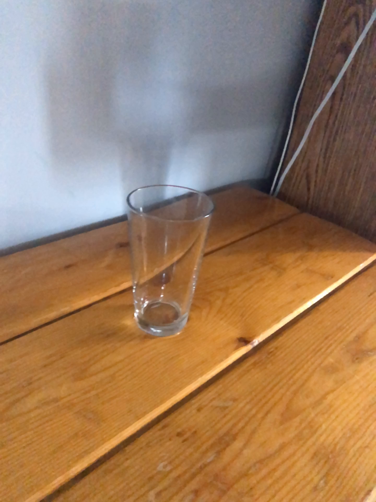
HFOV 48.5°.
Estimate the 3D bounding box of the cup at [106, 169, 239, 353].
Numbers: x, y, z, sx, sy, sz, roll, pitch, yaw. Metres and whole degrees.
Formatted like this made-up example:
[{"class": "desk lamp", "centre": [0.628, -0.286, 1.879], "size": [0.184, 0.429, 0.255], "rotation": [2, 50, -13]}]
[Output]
[{"class": "cup", "centre": [-0.020, 0.007, 0.442], "size": [0.090, 0.149, 0.090], "rotation": [6, 31, -4]}]
